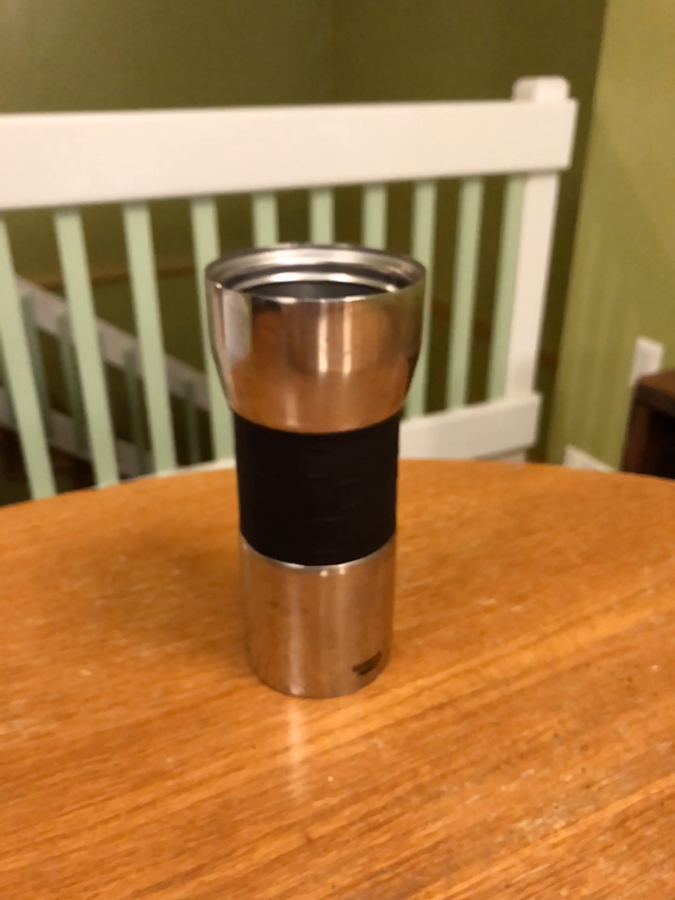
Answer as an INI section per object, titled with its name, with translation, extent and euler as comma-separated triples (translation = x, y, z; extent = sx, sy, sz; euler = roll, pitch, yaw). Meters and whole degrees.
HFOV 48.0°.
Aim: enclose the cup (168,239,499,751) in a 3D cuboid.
[cup]
translation = -0.003, 0.013, 0.314
extent = 0.088, 0.173, 0.084
euler = 0, 26, 0
